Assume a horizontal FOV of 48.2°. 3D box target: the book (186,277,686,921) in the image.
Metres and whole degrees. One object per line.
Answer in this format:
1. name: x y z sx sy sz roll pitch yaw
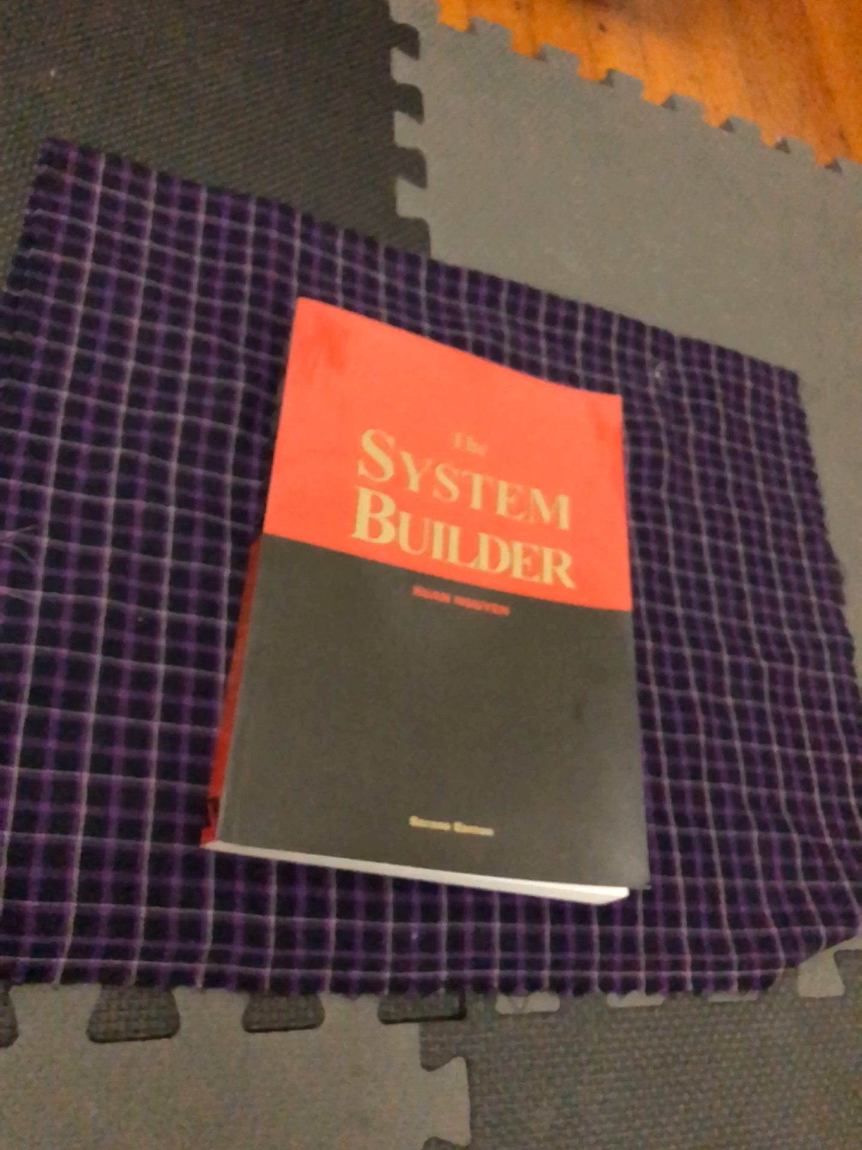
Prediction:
1. book: 0.015 0.007 0.433 0.200 0.030 0.261 14 62 -20
